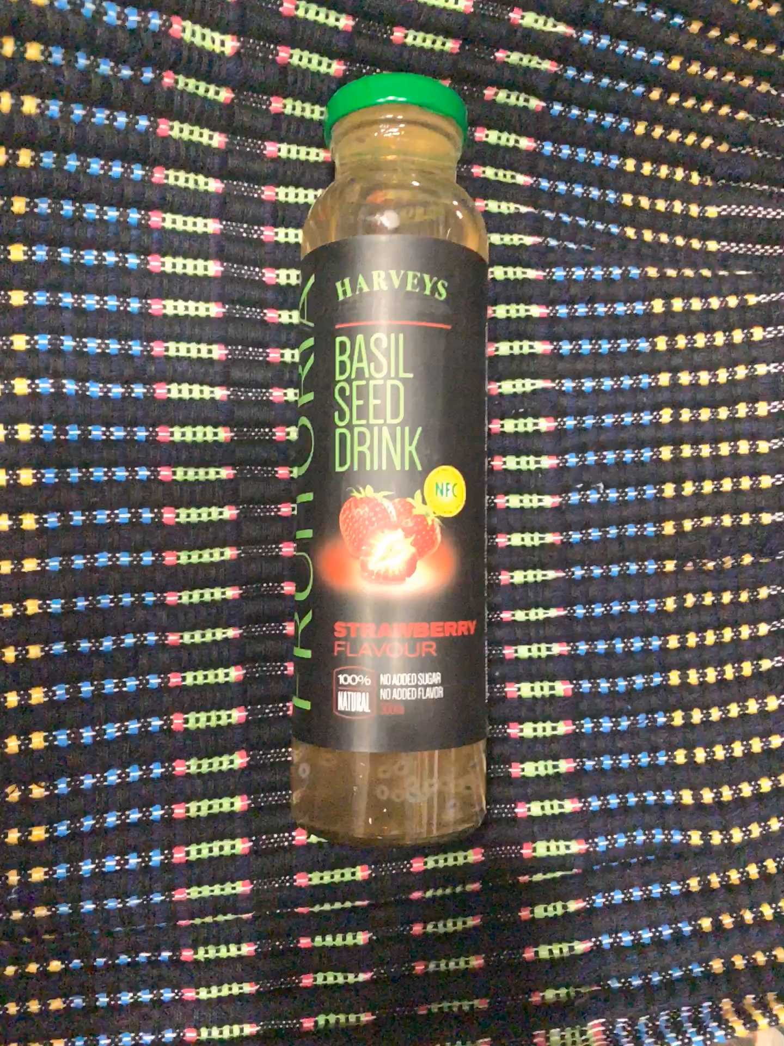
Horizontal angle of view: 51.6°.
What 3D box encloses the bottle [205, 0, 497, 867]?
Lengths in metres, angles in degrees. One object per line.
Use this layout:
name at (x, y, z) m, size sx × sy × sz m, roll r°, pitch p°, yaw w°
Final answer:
bottle at (-0.008, -0.030, 0.229) m, size 0.060 × 0.060 × 0.220 m, roll -2°, pitch 84°, yaw 19°
